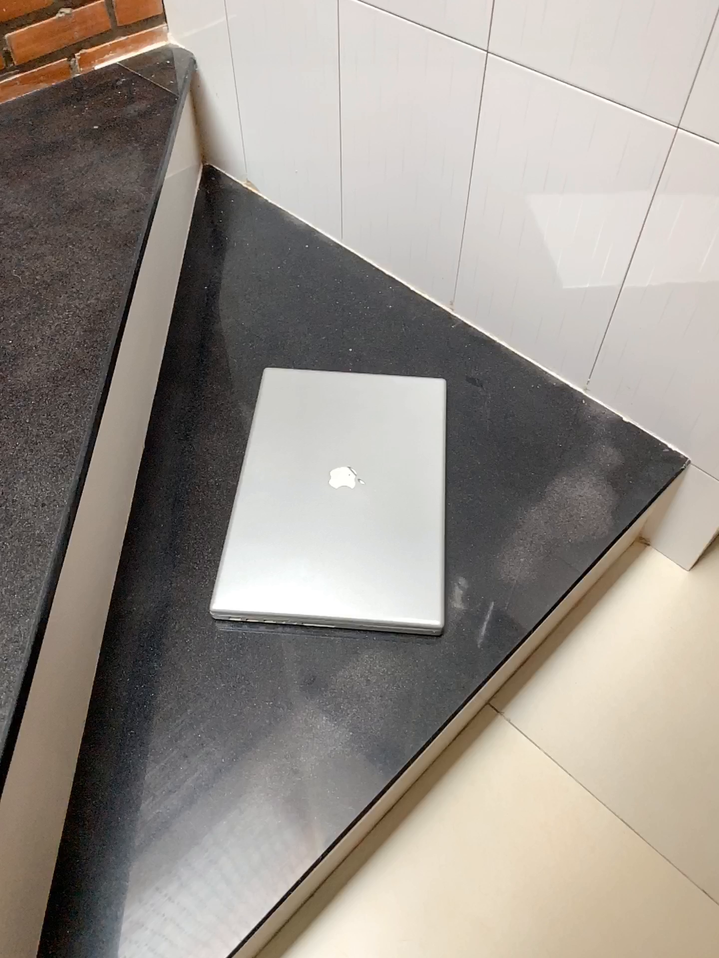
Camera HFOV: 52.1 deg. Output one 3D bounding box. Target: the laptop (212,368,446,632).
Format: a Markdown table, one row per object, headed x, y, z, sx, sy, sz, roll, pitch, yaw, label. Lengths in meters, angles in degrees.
| x | y | z | sx | sy | sz | roll | pitch | yaw | label |
| --- | --- | --- | --- | --- | --- | --- | --- | --- | --- |
| -0.022 | 0.007 | 1.065 | 0.291 | 0.013 | 0.441 | 5 | 52 | 0 | laptop |
